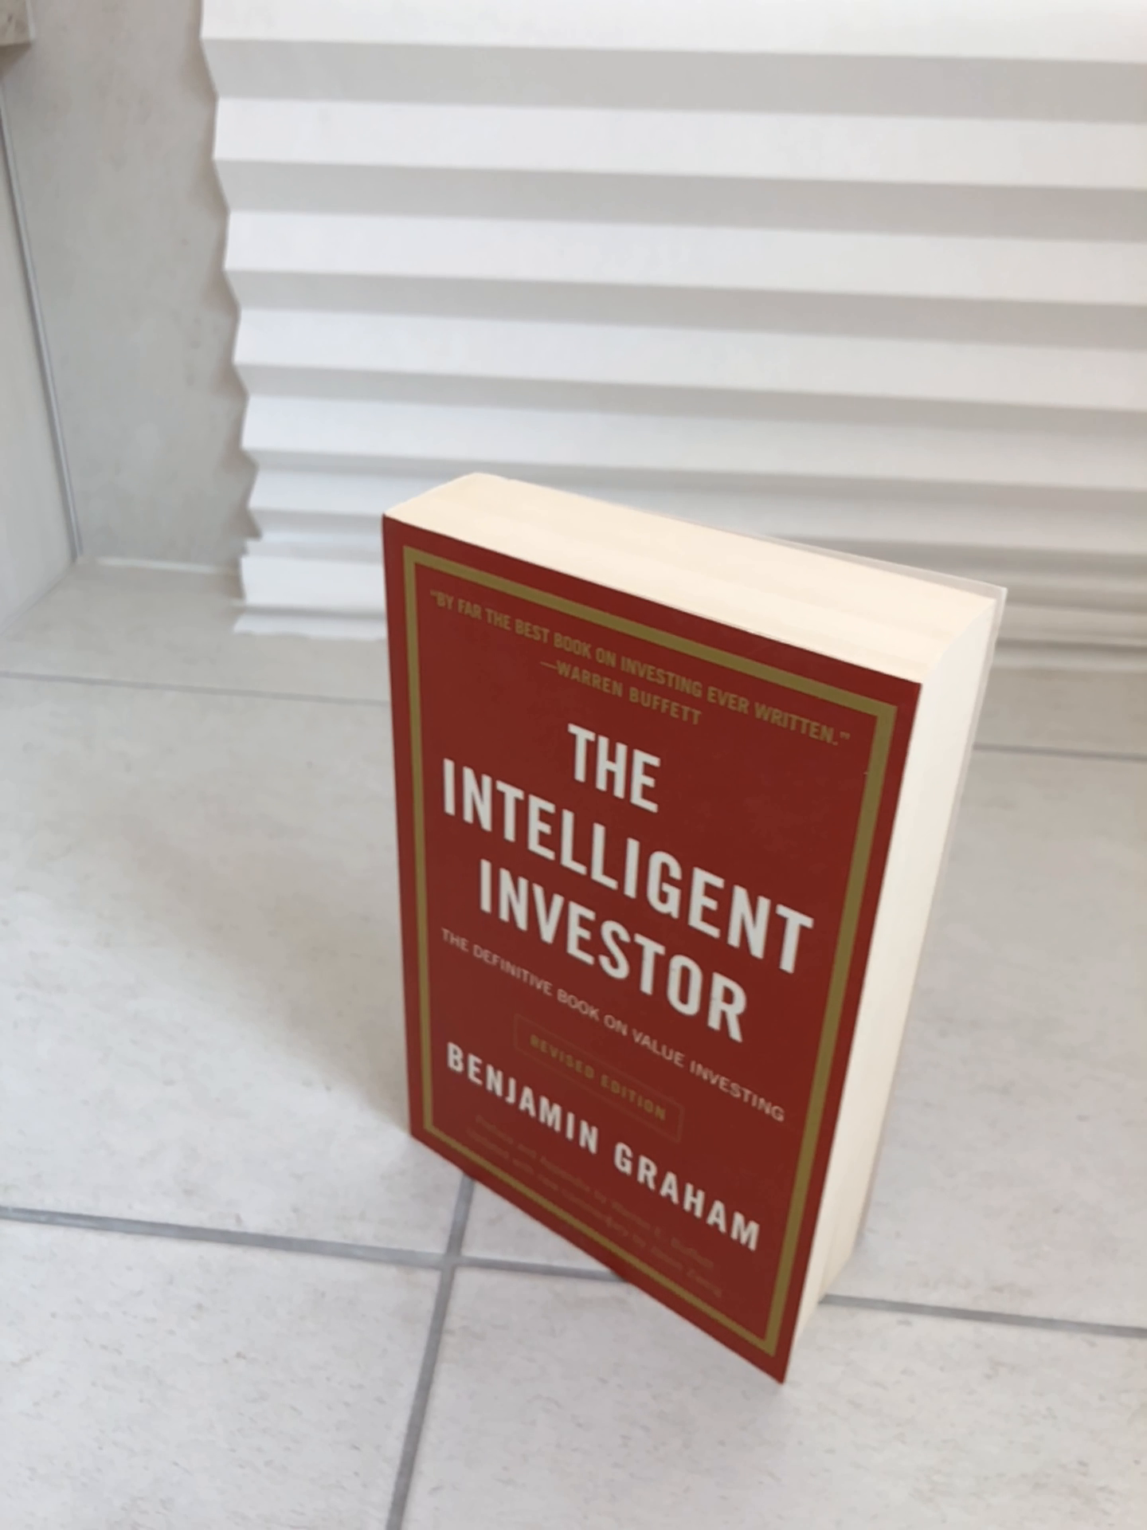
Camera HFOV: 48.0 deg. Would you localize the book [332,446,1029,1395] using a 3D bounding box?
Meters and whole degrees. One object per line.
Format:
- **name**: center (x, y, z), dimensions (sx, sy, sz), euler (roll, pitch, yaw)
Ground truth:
- **book**: center (0.017, 0.039, 0.340), dimensions (0.149, 0.206, 0.057), euler (22, 36, 31)
